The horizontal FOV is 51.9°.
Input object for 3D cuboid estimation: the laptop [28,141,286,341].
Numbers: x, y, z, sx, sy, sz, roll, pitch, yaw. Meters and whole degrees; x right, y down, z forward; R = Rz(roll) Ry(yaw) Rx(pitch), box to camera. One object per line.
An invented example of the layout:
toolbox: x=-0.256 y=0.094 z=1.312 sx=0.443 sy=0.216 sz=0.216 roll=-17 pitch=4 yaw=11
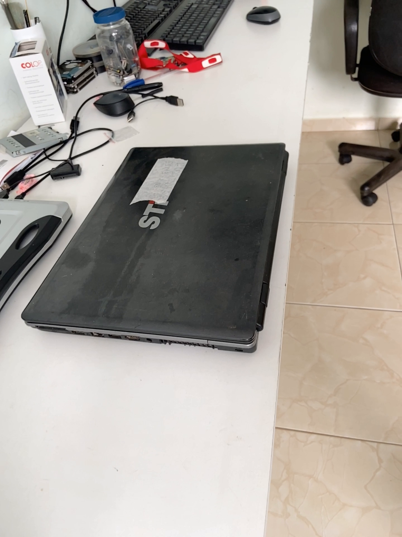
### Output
laptop: x=-0.028 y=-0.064 z=0.510 sx=0.234 sy=0.006 sz=0.339 roll=3 pitch=46 yaw=15
